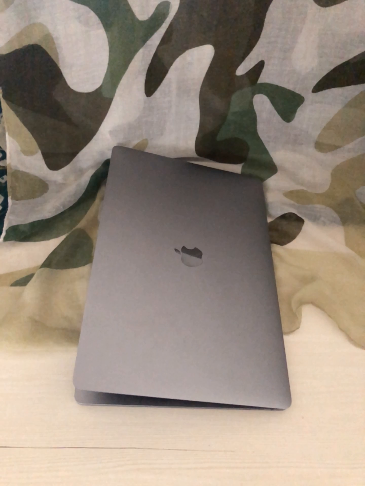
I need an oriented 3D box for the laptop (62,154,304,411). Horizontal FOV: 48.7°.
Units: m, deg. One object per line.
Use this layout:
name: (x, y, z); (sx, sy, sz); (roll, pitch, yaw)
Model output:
laptop: (0.005, 0.026, 0.519); (0.236, 0.058, 0.340); (3, 53, -1)
